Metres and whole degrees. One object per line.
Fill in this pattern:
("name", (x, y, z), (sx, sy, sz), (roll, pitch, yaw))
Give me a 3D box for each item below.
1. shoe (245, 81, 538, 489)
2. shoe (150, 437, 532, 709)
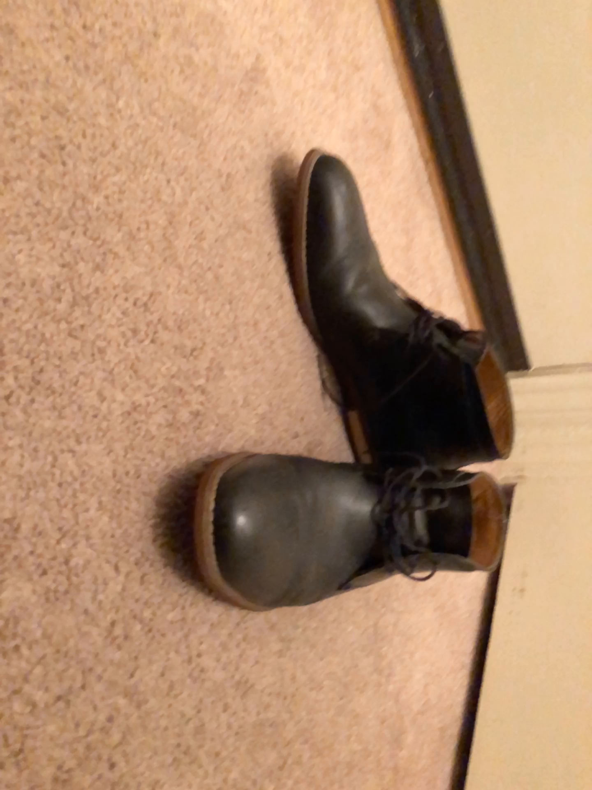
("shoe", (0.099, -0.070, 0.544), (0.302, 0.135, 0.117), (65, 36, -30))
("shoe", (0.057, 0.092, 0.448), (0.304, 0.135, 0.116), (8, 79, -59))
